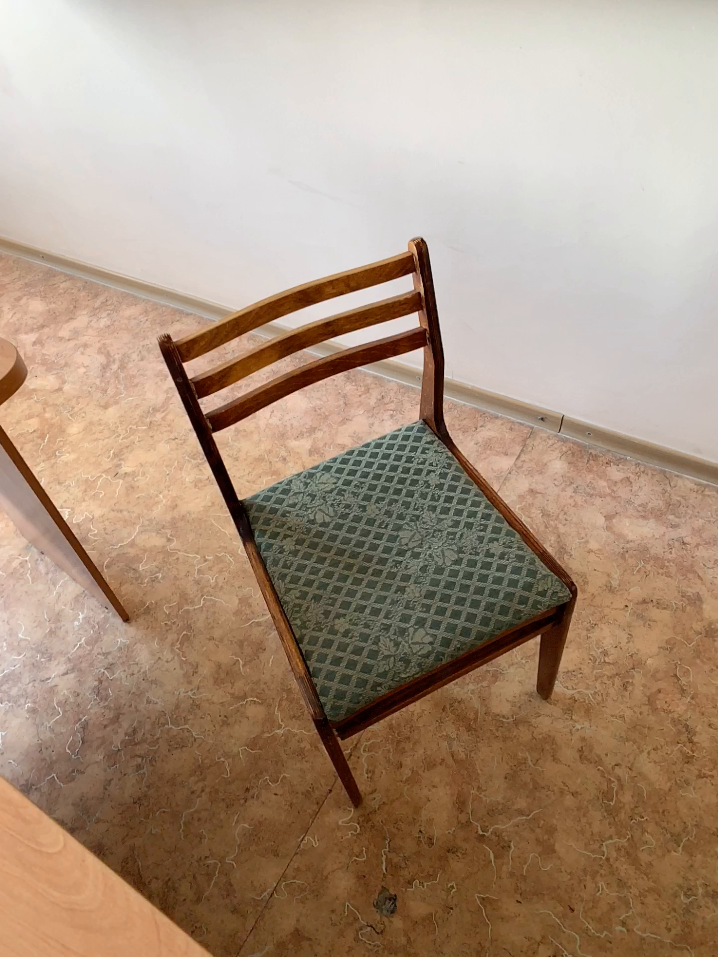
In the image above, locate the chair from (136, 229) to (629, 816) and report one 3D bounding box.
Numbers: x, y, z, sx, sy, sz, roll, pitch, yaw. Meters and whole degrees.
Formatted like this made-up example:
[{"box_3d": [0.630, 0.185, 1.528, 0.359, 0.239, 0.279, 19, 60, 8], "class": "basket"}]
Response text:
[{"box_3d": [0.034, 0.106, 1.070, 0.401, 0.704, 0.404, -25, 52, -13], "class": "chair"}]
